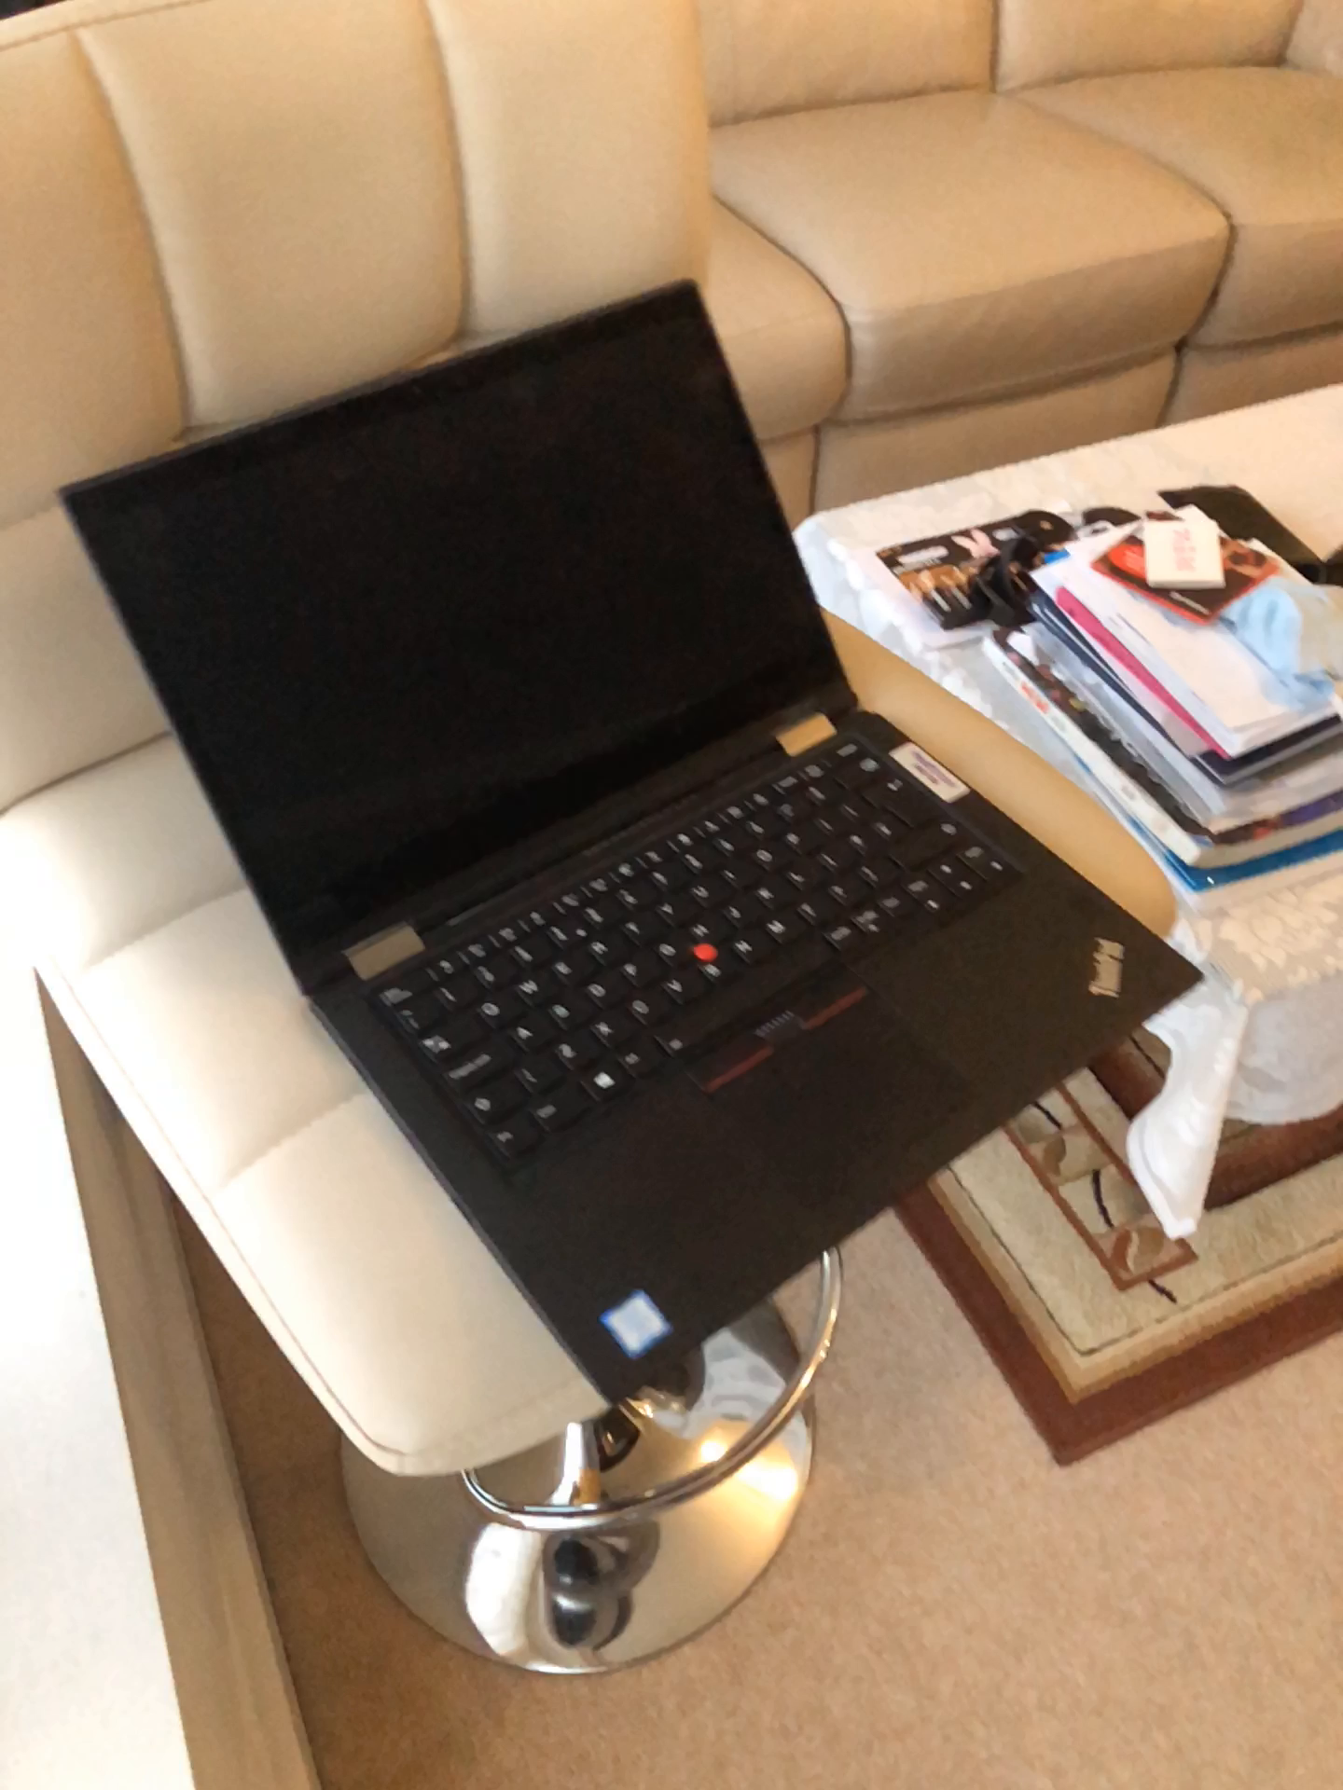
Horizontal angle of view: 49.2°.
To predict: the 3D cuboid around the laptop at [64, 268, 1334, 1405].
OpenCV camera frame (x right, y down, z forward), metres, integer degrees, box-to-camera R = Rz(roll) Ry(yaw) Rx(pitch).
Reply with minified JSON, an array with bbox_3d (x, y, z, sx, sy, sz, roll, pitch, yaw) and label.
[{"bbox_3d":[-0.005,-0.063,0.599,0.309,0.165,0.367,-29,55,-25],"label":"laptop"}]
